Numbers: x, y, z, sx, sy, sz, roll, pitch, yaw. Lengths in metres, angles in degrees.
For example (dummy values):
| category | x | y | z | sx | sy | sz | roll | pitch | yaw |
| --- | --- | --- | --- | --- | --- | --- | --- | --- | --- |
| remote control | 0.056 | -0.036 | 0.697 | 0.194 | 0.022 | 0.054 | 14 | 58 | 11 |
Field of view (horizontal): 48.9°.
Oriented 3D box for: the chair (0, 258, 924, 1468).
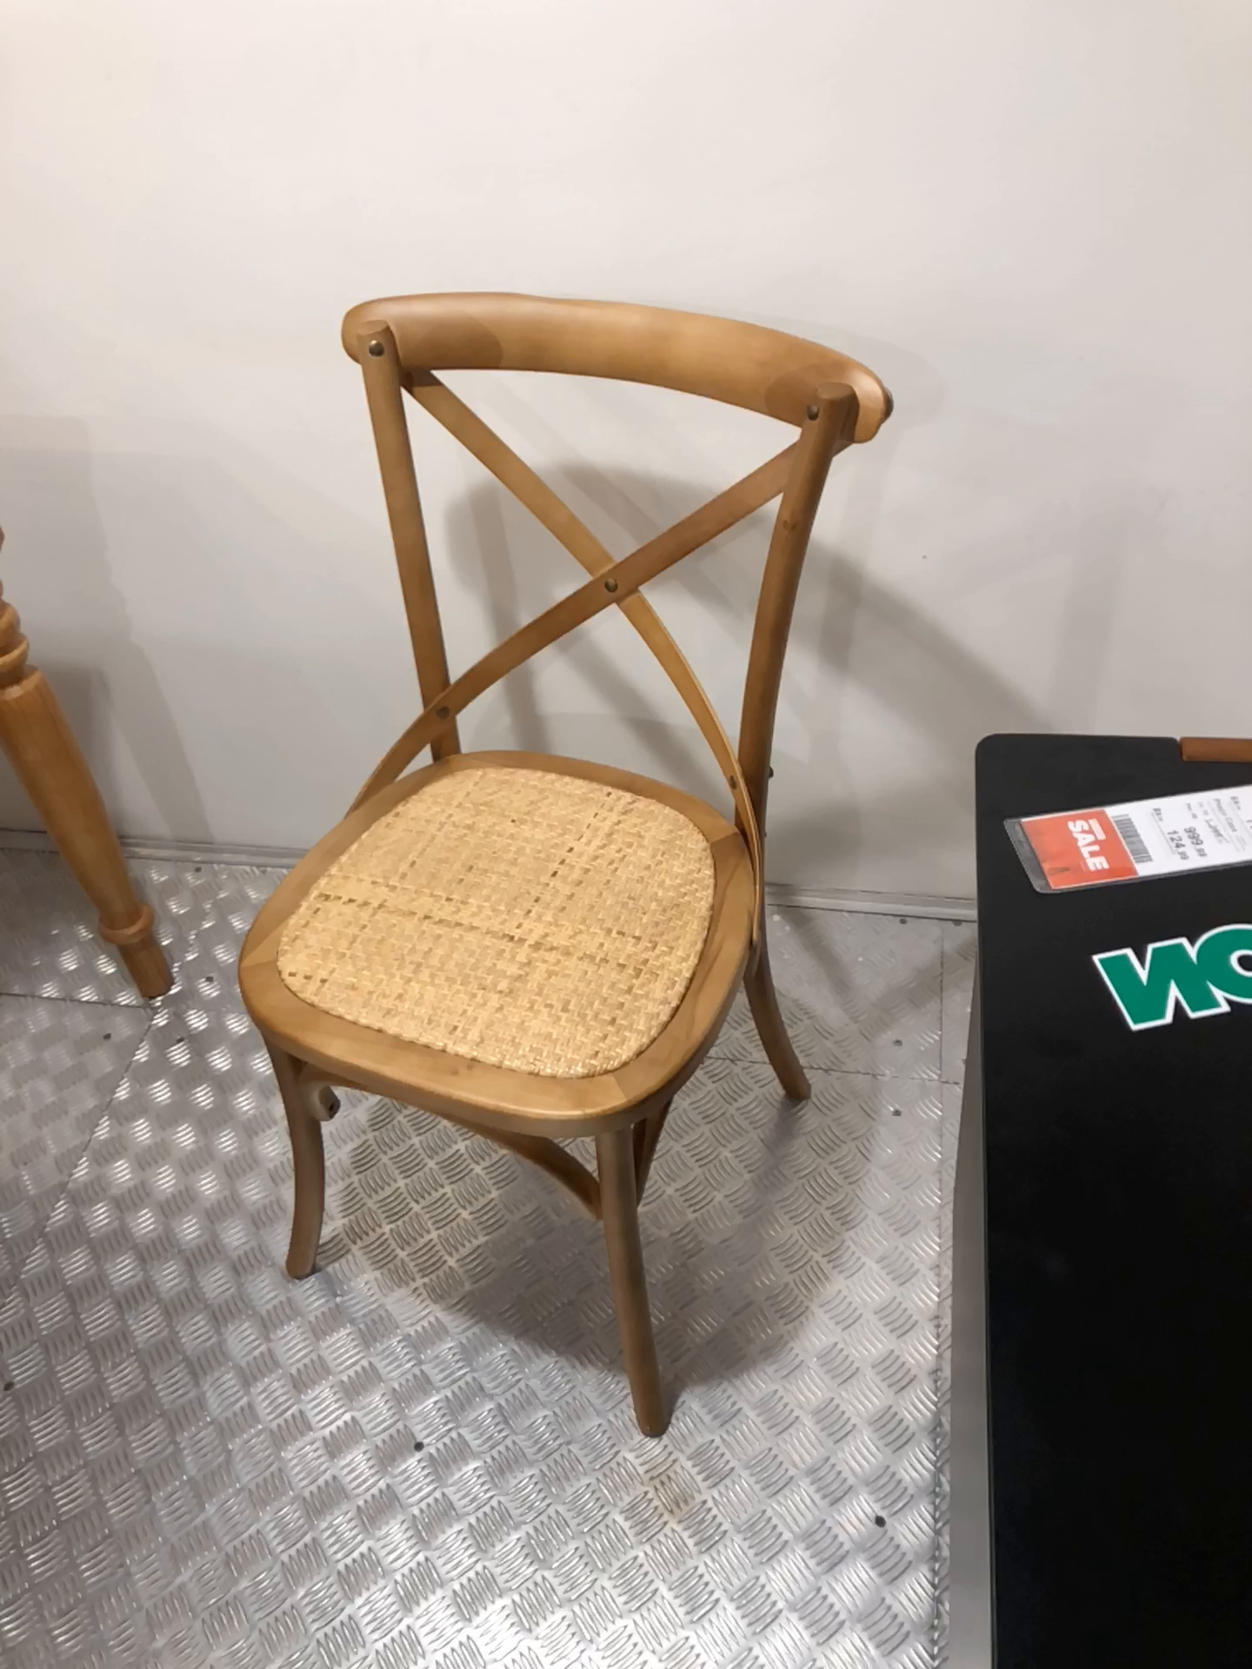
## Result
| category | x | y | z | sx | sy | sz | roll | pitch | yaw |
| --- | --- | --- | --- | --- | --- | --- | --- | --- | --- |
| chair | -0.084 | 0.042 | 1.264 | 0.501 | 0.874 | 0.543 | 16 | 48 | 23 |
